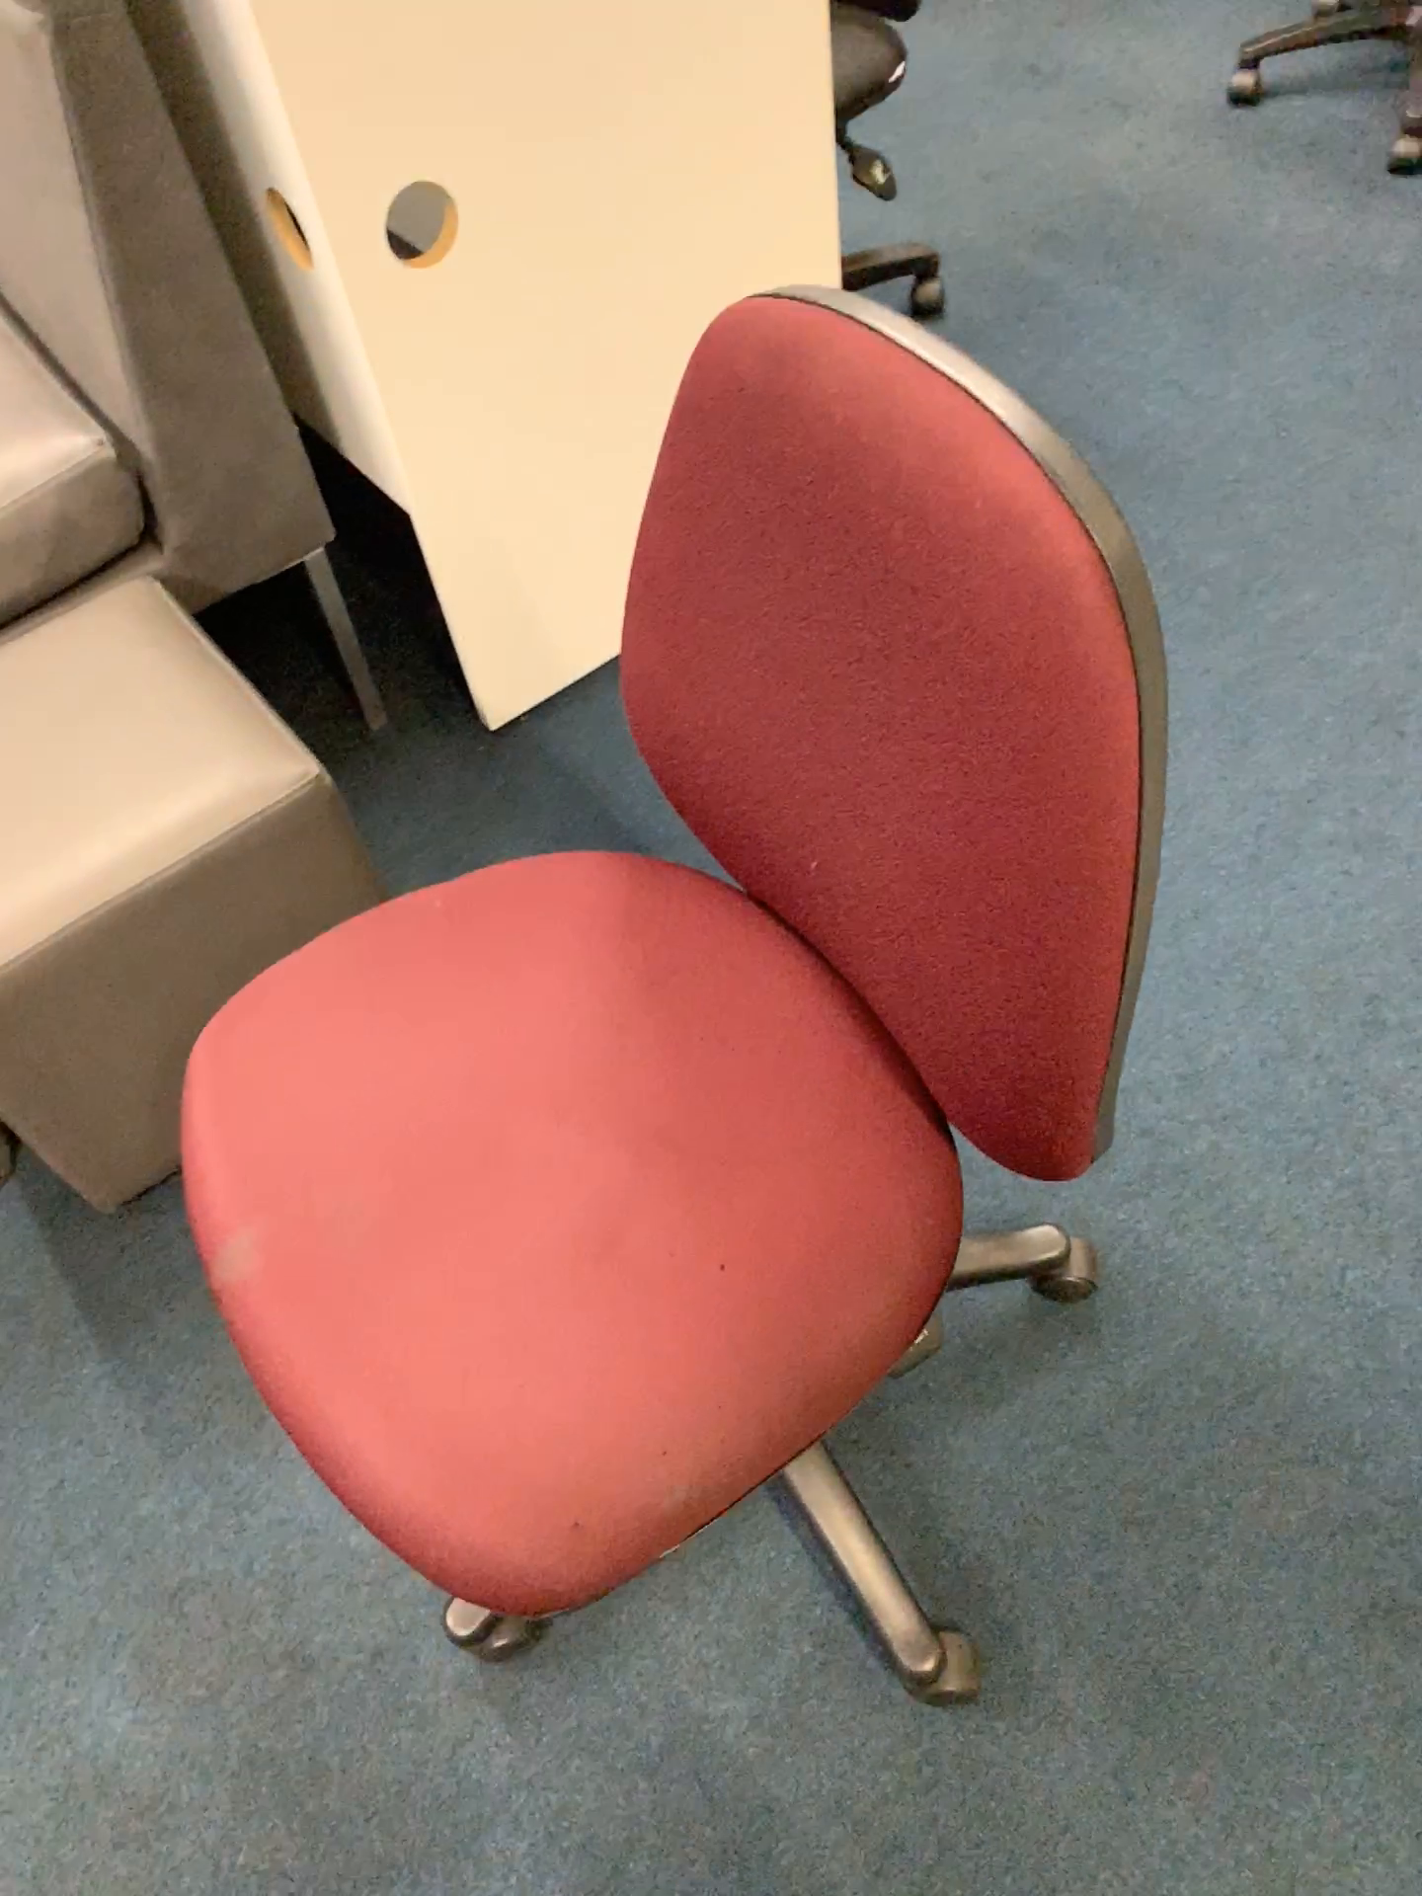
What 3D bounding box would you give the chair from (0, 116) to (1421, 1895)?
[{"bbox_3d":[-0.024,0.096,0.944,0.691,0.783,0.654,-31,55,-14],"label":"chair"}]
